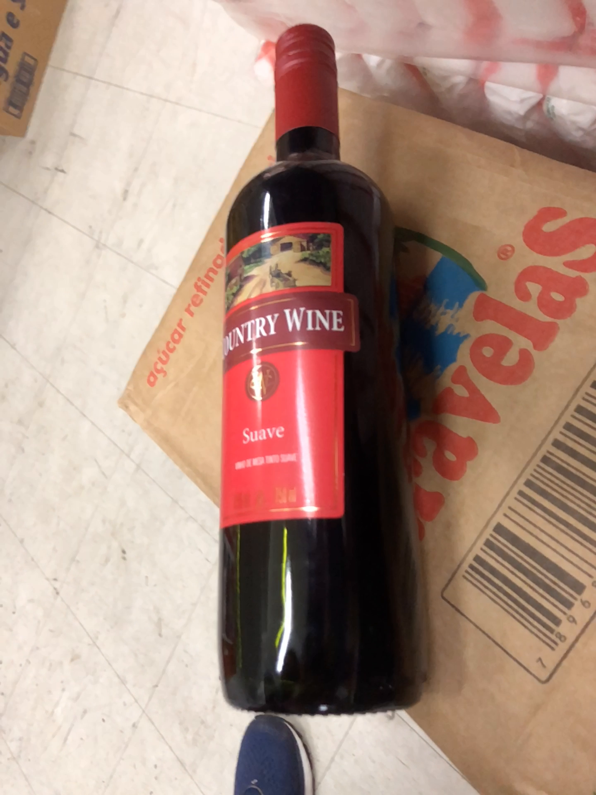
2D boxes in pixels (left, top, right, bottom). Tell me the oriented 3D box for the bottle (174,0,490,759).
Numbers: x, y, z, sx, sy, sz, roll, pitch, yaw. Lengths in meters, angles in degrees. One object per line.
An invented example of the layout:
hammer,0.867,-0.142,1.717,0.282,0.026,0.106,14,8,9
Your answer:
bottle,0.005,-0.030,0.260,0.080,0.060,0.290,-15,72,36
